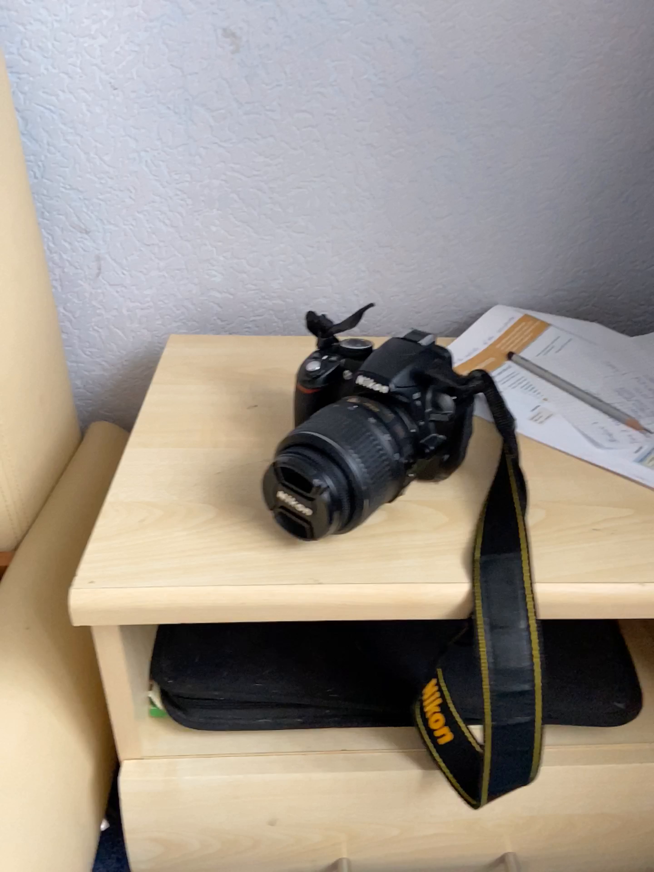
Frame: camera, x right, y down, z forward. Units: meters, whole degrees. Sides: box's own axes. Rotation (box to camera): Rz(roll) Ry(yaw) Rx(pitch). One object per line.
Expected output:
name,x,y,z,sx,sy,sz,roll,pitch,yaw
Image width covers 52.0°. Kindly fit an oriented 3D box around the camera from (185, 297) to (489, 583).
camera,0.011,-0.010,0.427,0.118,0.091,0.152,21,37,28
